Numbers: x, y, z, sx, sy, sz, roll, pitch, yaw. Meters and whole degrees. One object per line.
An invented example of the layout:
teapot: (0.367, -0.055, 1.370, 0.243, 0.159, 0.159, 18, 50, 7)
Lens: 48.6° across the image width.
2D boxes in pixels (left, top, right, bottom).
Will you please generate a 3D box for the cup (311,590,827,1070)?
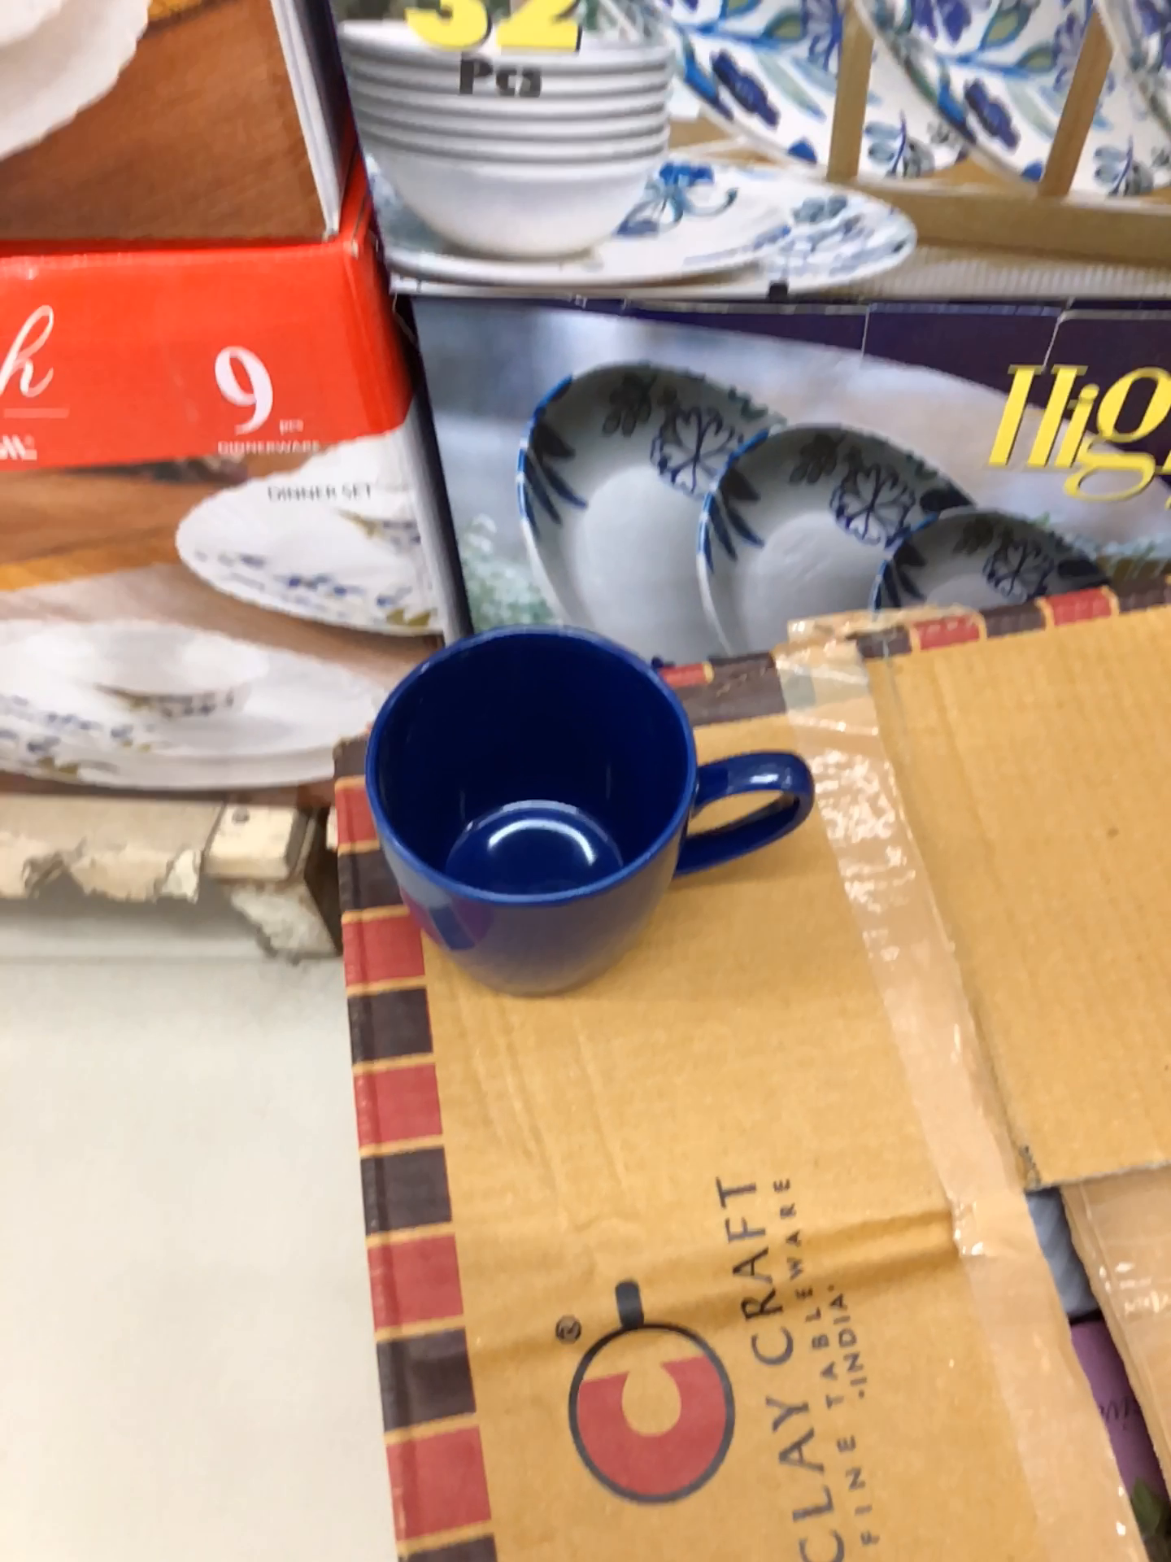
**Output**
cup: (-0.004, 0.014, 0.302, 0.100, 0.080, 0.070, -6, 57, -1)
